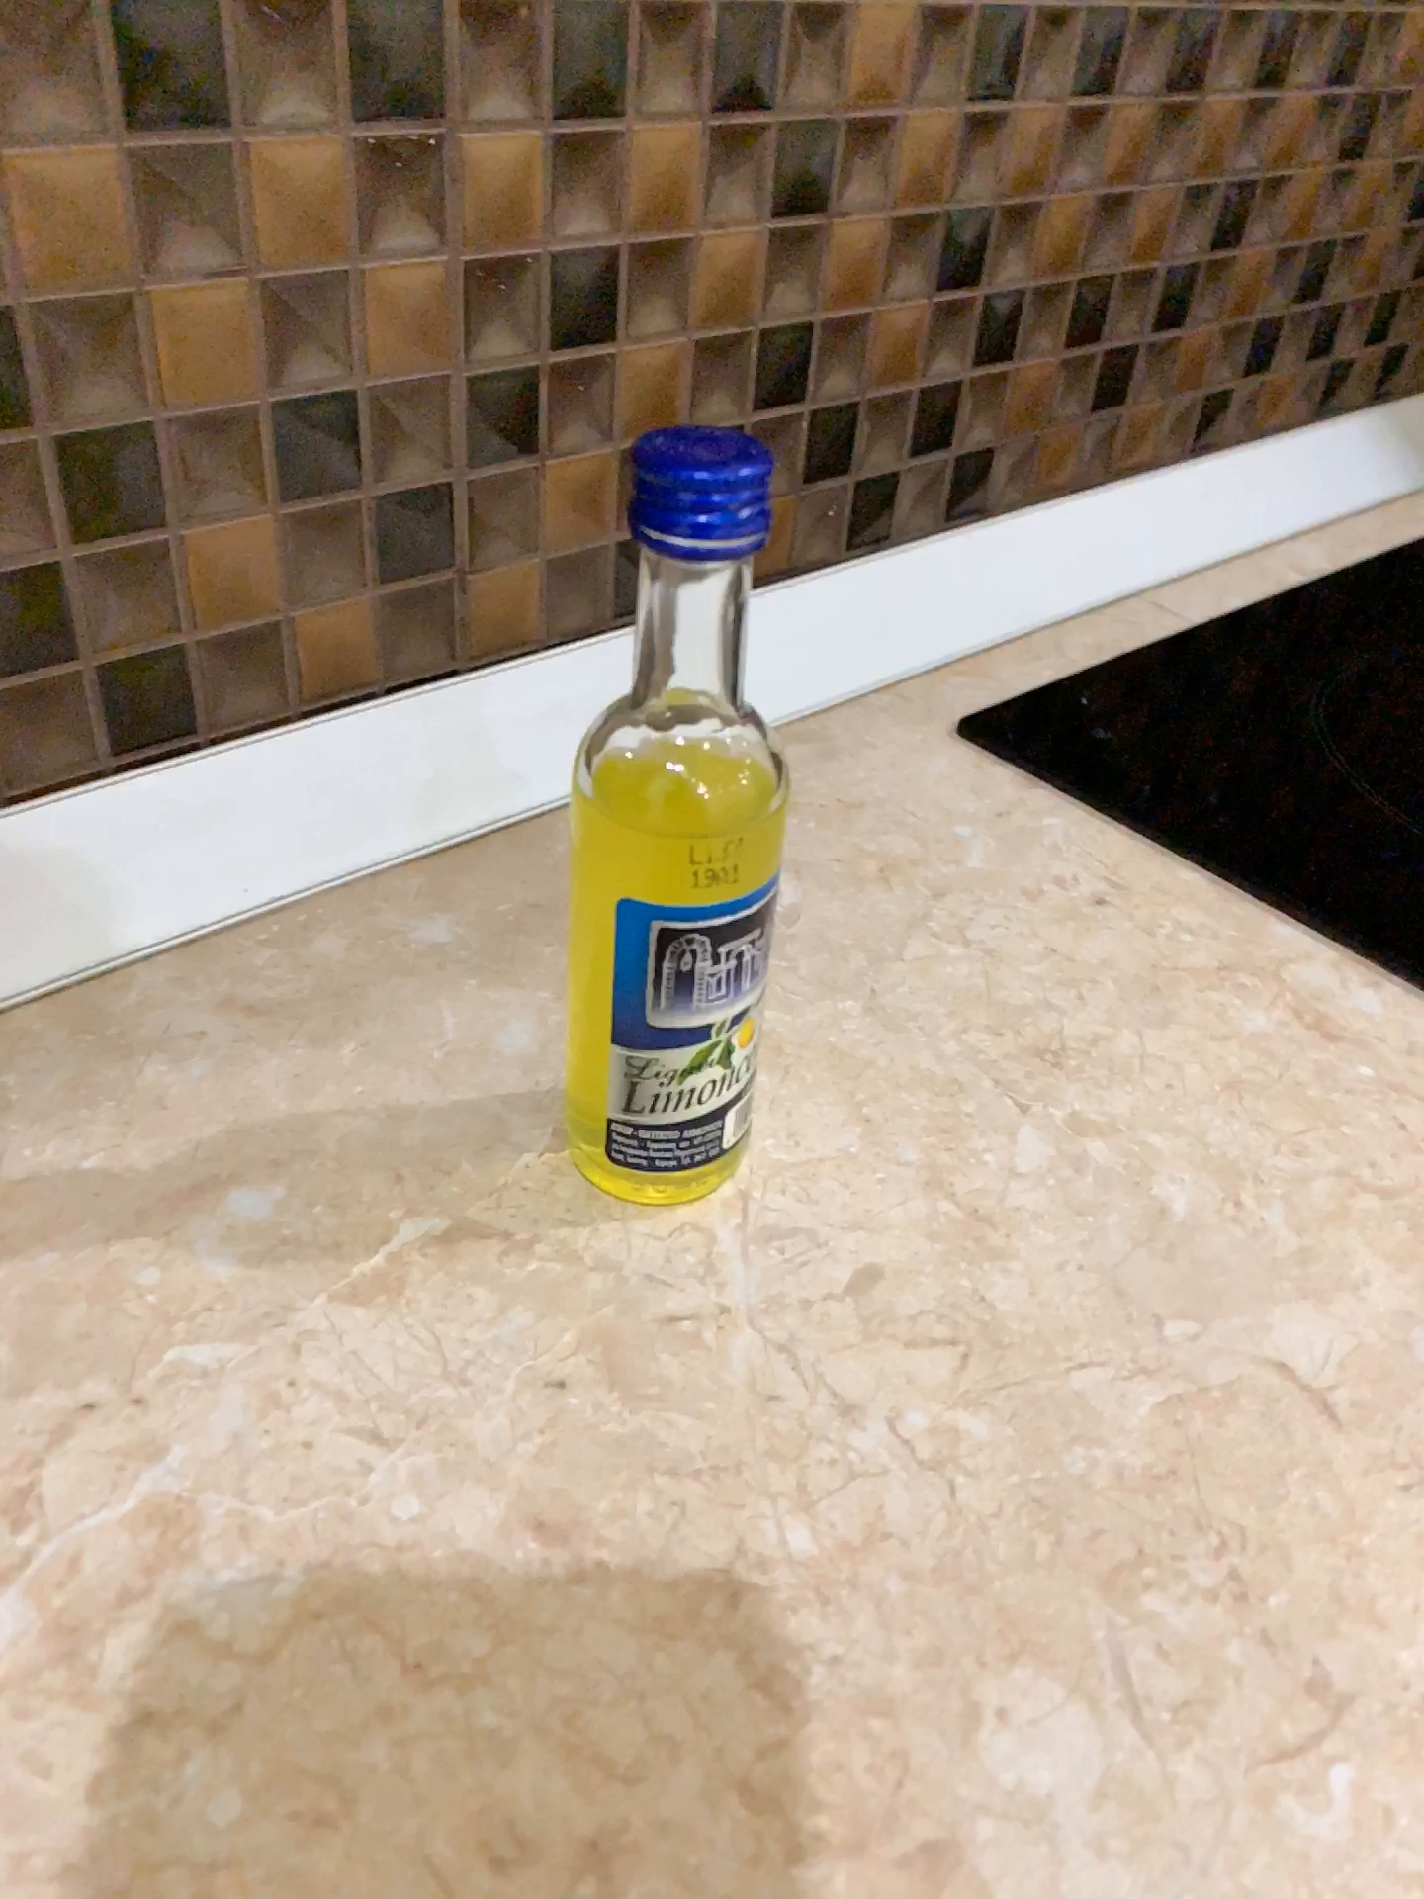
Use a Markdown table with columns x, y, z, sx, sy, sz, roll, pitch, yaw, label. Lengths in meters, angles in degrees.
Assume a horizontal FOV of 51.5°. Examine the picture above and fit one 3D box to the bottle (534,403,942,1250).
| x | y | z | sx | sy | sz | roll | pitch | yaw | label |
| --- | --- | --- | --- | --- | --- | --- | --- | --- | --- |
| -0.001 | -0.014 | 0.222 | 0.039 | 0.119 | 0.033 | -26 | 47 | -35 | bottle |
